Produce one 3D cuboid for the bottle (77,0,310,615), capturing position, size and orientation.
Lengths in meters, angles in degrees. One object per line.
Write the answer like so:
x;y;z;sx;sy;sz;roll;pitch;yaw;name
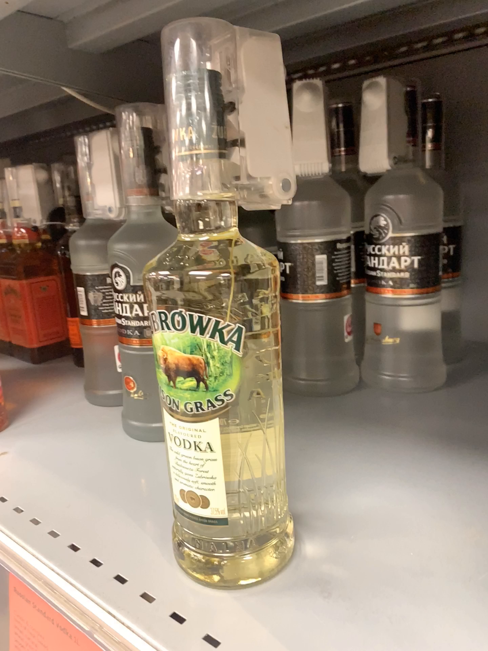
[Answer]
-0.020;-0.009;0.279;0.076;0.303;0.069;6;16;38;bottle
